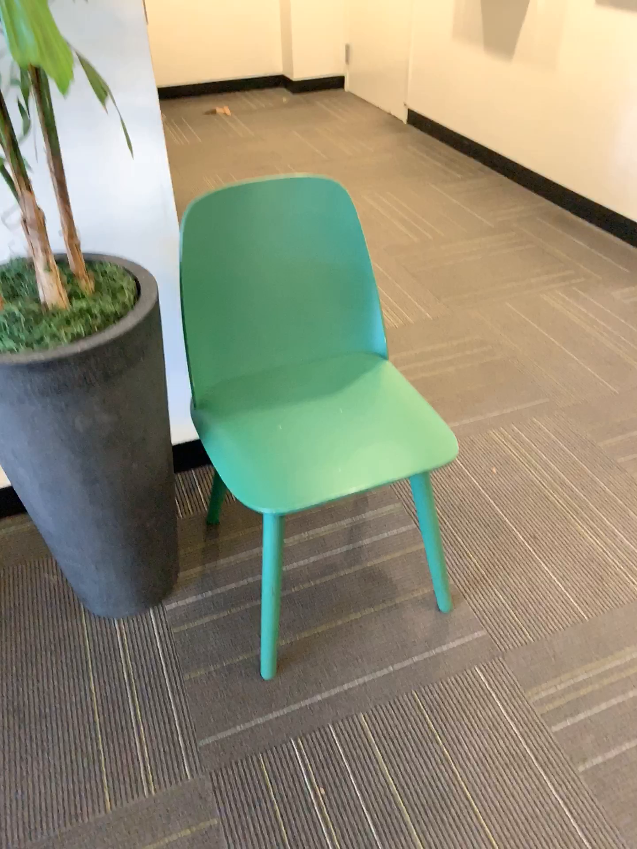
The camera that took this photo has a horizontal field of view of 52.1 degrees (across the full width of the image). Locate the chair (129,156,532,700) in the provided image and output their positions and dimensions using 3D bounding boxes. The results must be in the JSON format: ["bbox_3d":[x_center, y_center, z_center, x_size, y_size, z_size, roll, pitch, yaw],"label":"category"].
[{"bbox_3d":[-0.041,-0.041,1.197,0.390,0.626,0.714,-14,41,-15],"label":"chair"}]
